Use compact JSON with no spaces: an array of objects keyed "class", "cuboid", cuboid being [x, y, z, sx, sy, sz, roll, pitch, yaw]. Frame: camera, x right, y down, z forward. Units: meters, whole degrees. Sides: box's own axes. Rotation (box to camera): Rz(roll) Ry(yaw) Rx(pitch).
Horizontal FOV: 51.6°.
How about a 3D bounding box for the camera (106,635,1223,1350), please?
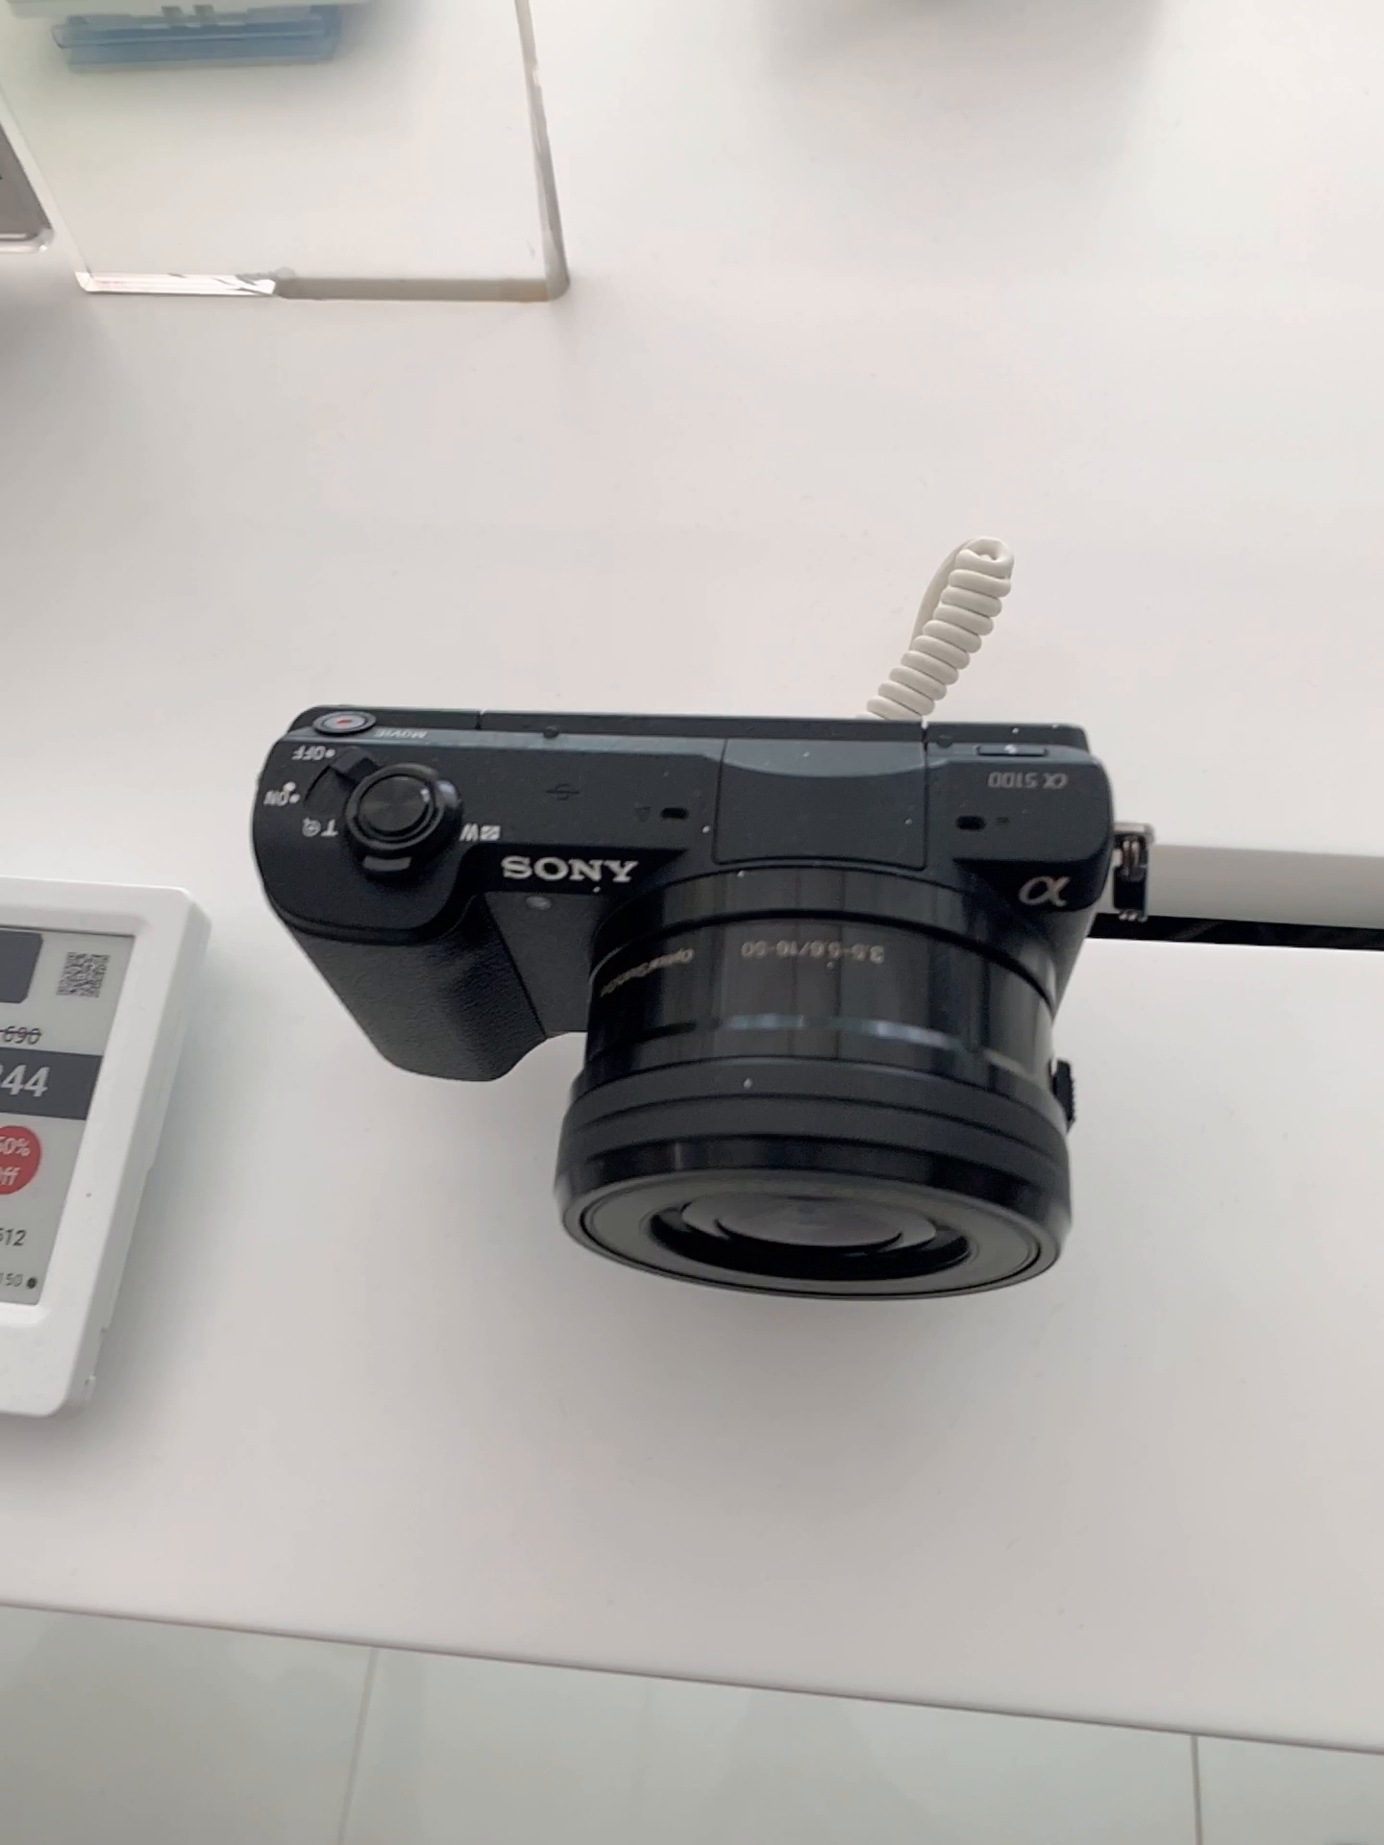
[{"class":"camera","cuboid":[0.001,0.013,0.189,0.110,0.080,0.060,3,63,6]}]
